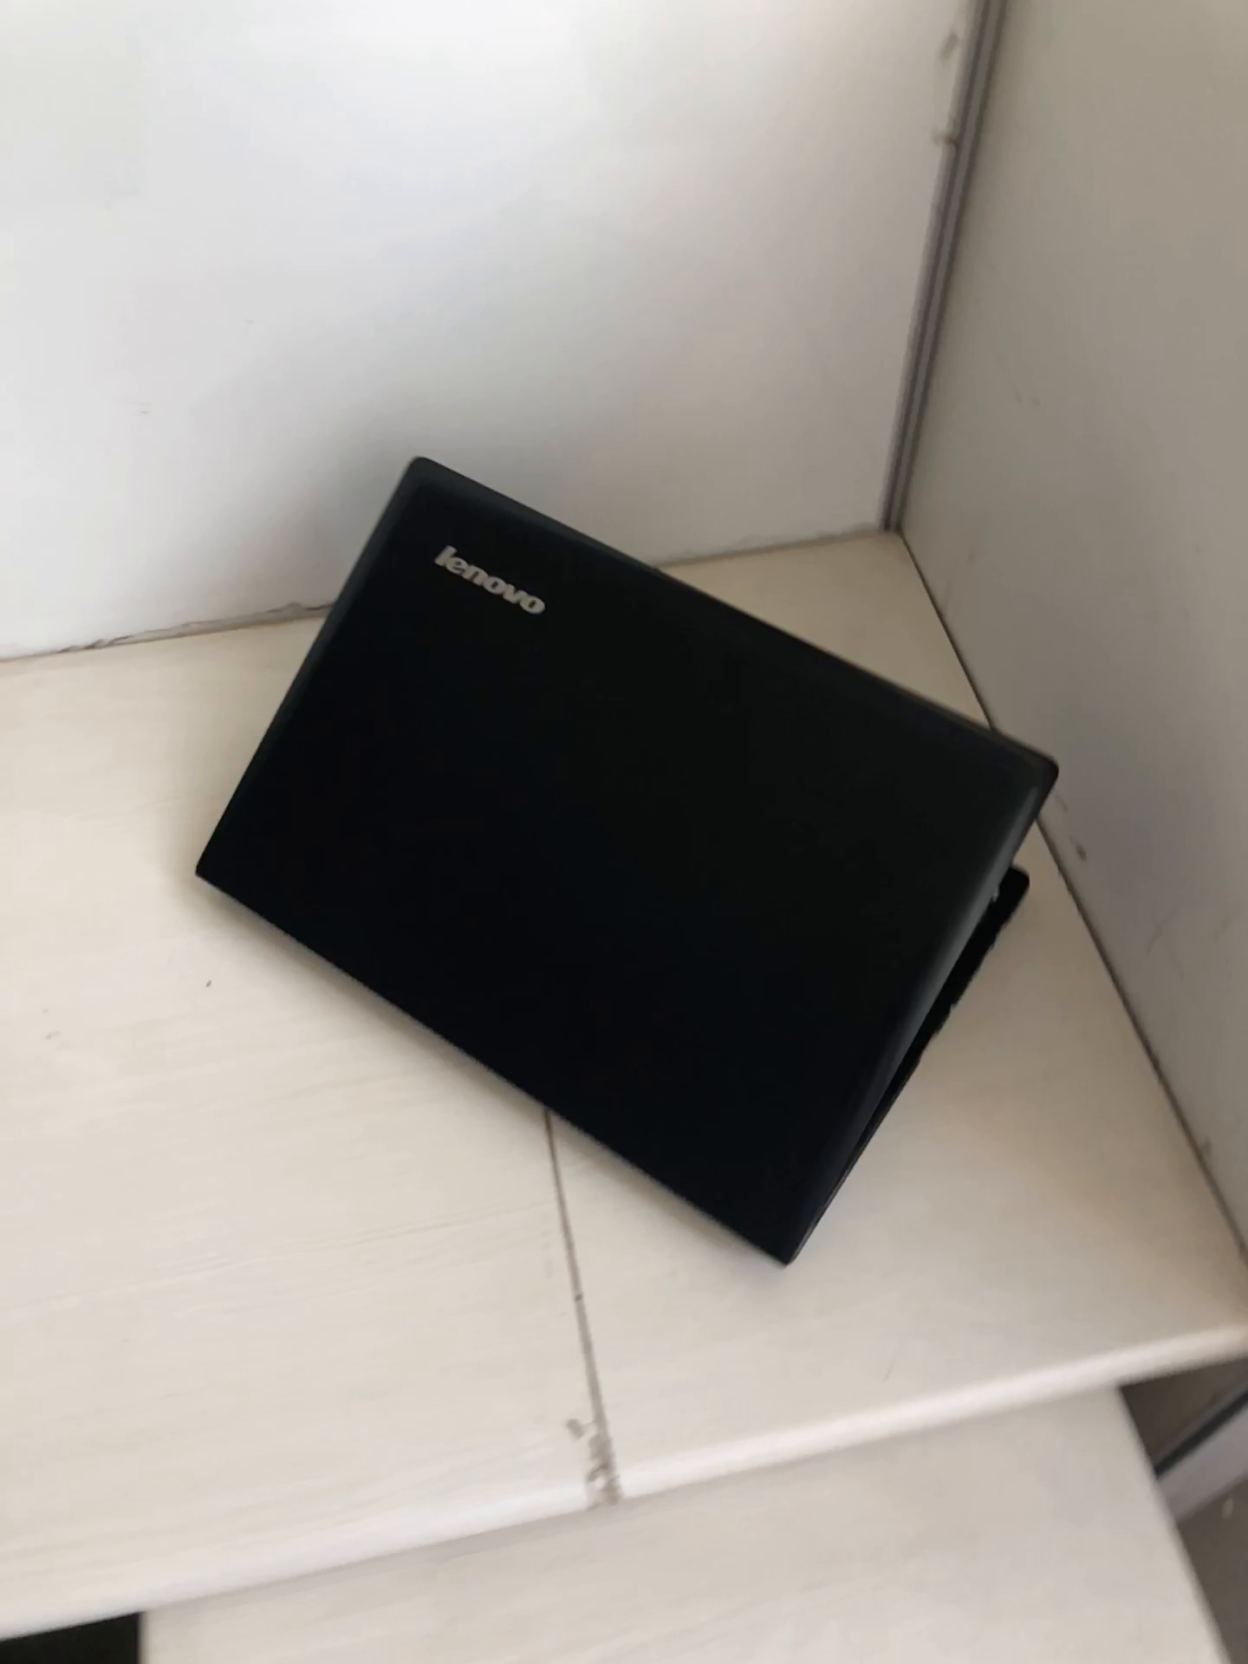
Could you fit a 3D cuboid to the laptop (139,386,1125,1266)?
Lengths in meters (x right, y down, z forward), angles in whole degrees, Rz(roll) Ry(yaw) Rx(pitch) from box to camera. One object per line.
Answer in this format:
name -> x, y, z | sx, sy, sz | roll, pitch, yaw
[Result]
laptop -> -0.001, -0.019, 0.698 | 0.374, 0.162, 0.253 | 30, 63, 20
